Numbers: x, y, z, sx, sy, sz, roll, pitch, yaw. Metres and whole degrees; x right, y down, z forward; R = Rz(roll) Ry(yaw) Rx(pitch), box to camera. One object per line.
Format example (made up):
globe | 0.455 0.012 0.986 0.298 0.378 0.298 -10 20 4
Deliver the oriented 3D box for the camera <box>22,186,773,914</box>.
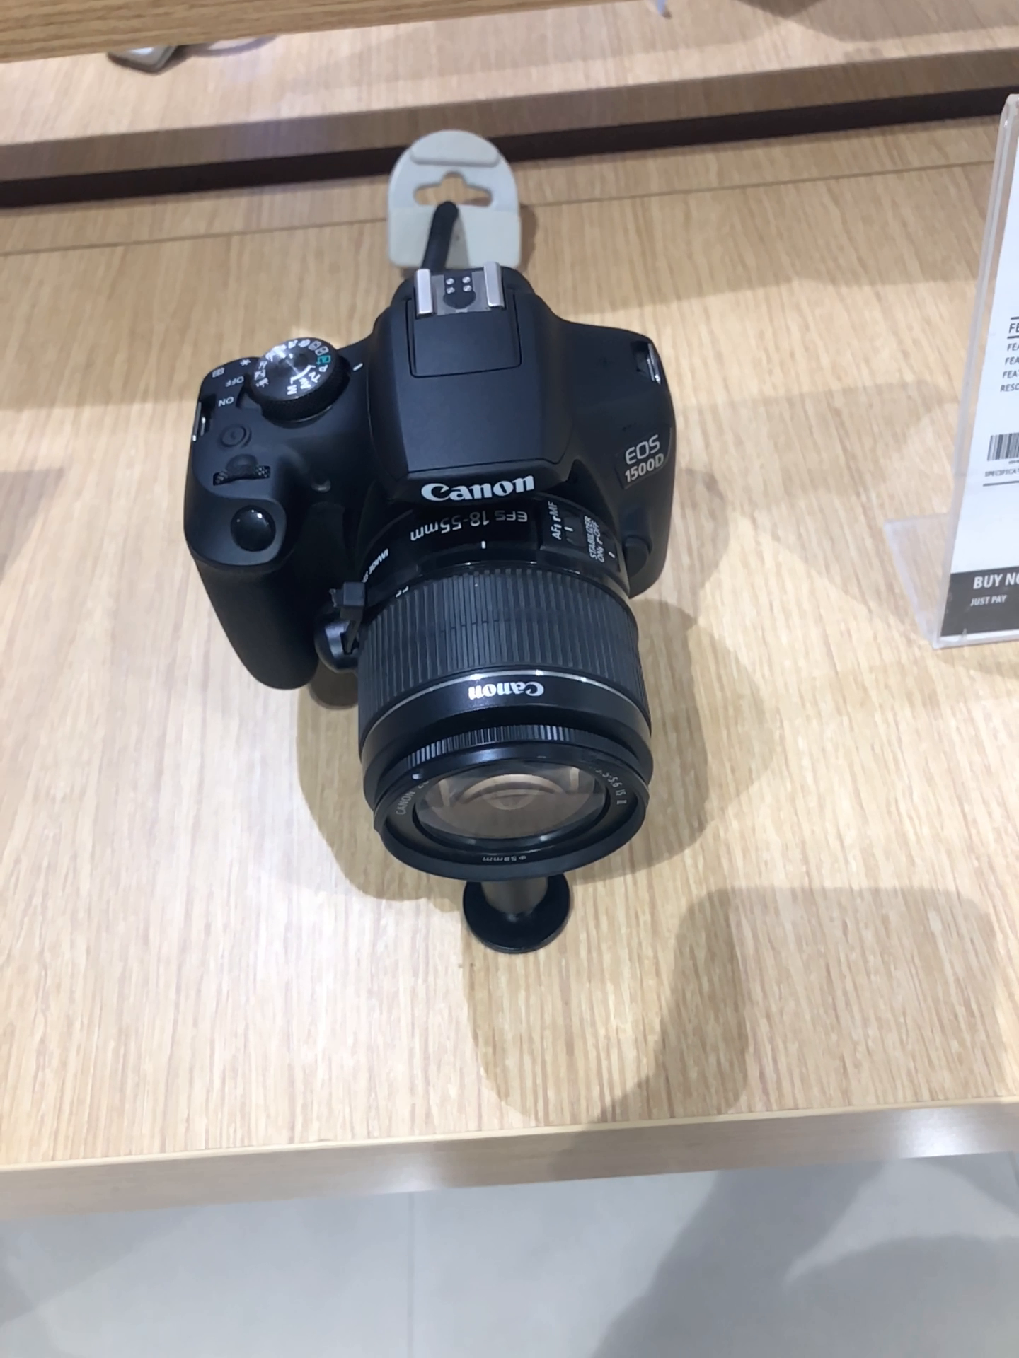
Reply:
camera | -0.019 -0.032 0.273 0.130 0.090 0.141 -4 54 2
